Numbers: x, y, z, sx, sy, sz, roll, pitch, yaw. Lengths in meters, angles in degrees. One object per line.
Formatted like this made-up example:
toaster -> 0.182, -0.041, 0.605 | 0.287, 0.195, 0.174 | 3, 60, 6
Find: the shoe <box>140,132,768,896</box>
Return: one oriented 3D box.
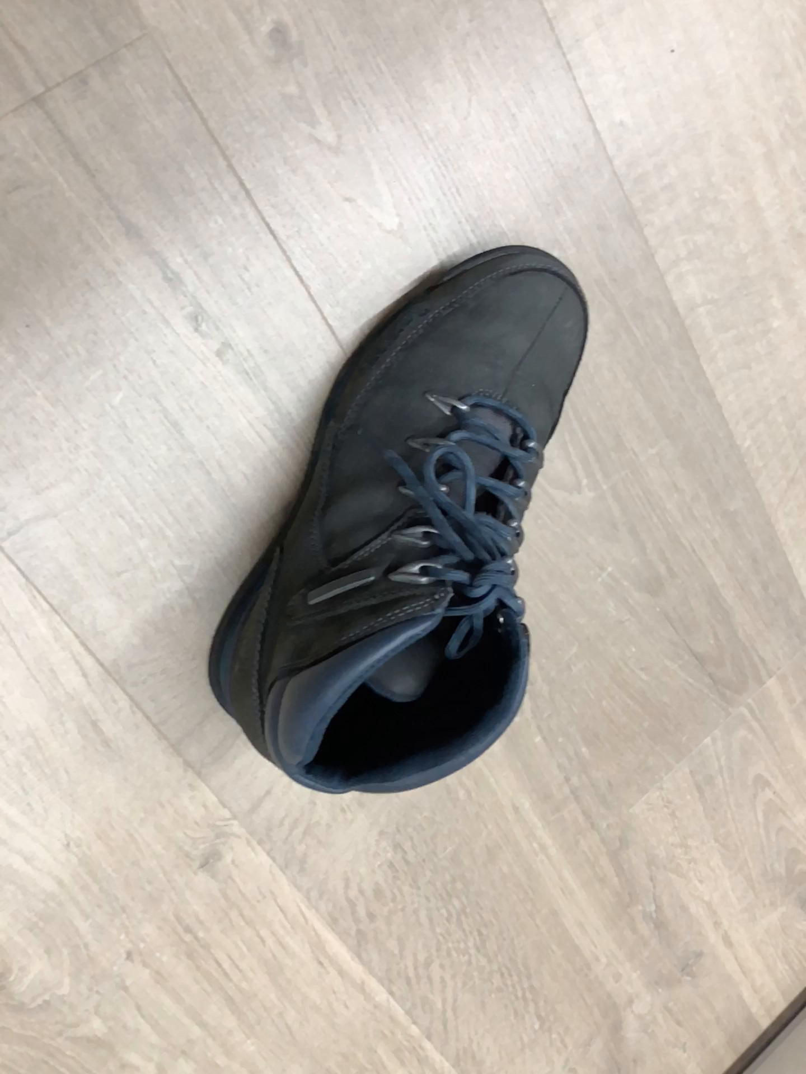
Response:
shoe -> 0.014, -0.014, 0.408 | 0.110, 0.130, 0.290 | 33, 86, -25
